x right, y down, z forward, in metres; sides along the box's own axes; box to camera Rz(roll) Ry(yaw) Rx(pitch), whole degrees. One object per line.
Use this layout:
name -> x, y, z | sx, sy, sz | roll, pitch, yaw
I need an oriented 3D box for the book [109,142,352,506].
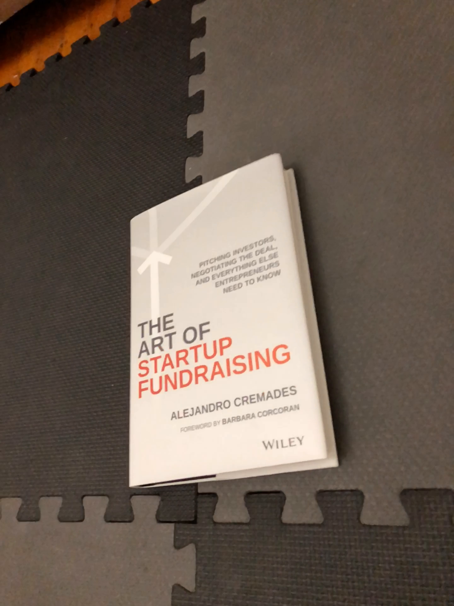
book -> -0.010, 0.016, 0.384 | 0.170, 0.030, 0.251 | -16, 63, 27
